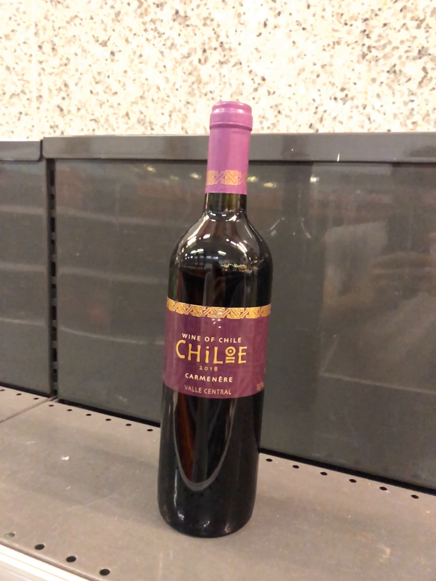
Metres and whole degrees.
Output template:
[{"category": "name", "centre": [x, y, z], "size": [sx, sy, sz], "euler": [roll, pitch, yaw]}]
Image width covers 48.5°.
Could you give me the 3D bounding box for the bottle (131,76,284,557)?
[{"category": "bottle", "centre": [-0.007, 0.020, 0.359], "size": [0.090, 0.319, 0.080], "euler": [4, 10, 7]}]
